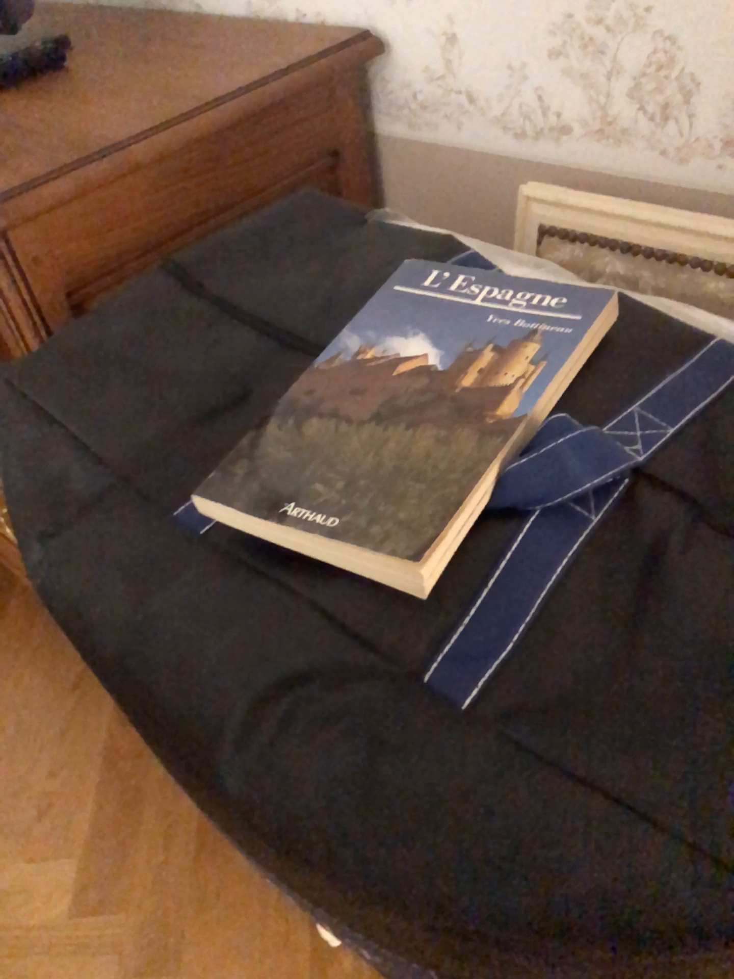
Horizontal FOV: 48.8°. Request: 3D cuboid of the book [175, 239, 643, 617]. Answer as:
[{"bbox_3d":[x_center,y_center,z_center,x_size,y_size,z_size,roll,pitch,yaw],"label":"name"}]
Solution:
[{"bbox_3d":[0.032,-0.059,0.470,0.170,0.030,0.251,15,54,32],"label":"book"}]
